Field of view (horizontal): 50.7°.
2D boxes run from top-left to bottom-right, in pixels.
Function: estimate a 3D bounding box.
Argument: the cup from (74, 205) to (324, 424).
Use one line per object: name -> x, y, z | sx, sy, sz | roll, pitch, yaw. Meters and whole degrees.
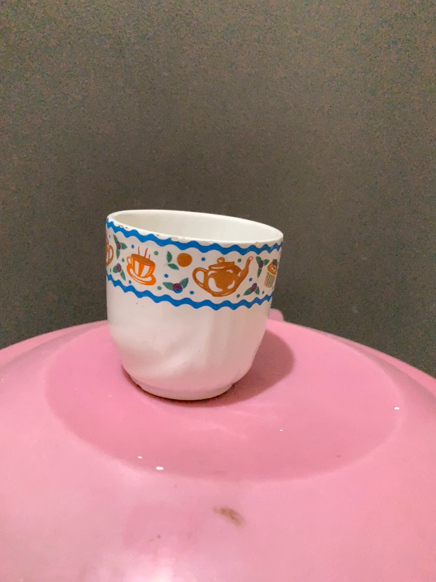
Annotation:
cup -> -0.008, 0.003, 0.183 | 0.075, 0.062, 0.072 | 5, 13, -1
